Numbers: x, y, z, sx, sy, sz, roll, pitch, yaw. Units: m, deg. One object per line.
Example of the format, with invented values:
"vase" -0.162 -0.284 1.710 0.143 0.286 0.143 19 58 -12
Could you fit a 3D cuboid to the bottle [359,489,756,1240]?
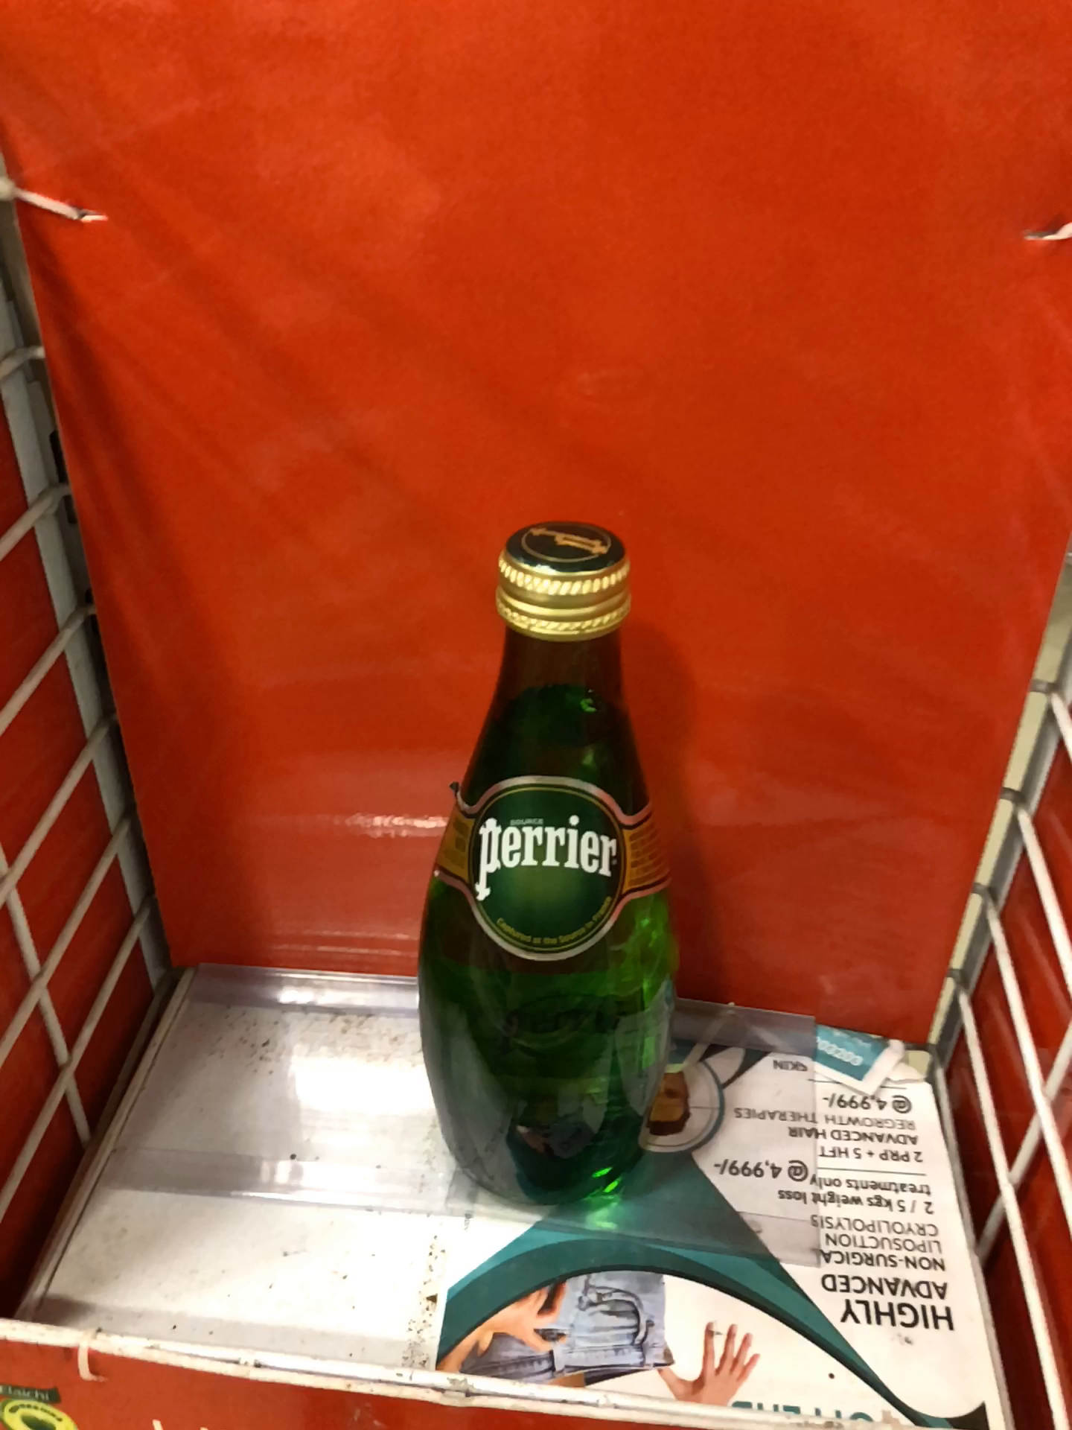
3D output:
"bottle" 0.006 0.043 0.284 0.070 0.179 0.060 4 35 5
